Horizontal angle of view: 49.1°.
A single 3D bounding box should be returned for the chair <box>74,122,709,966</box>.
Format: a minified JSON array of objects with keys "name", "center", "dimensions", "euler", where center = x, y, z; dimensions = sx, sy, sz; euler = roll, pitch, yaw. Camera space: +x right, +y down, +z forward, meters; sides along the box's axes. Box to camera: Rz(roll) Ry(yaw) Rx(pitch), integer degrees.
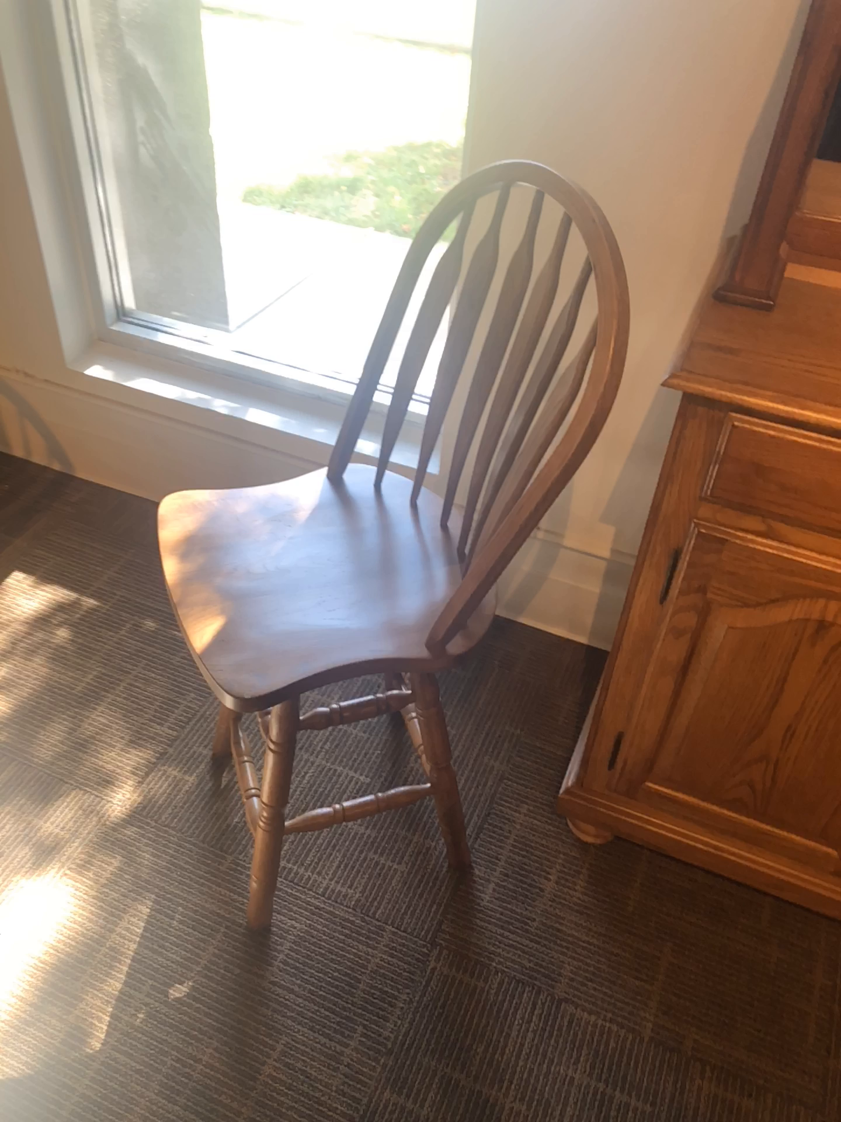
[{"name":"chair","center":[-0.091,0.012,1.294],"dimensions":[0.541,1.025,0.482],"euler":[-11,42,-18]}]
